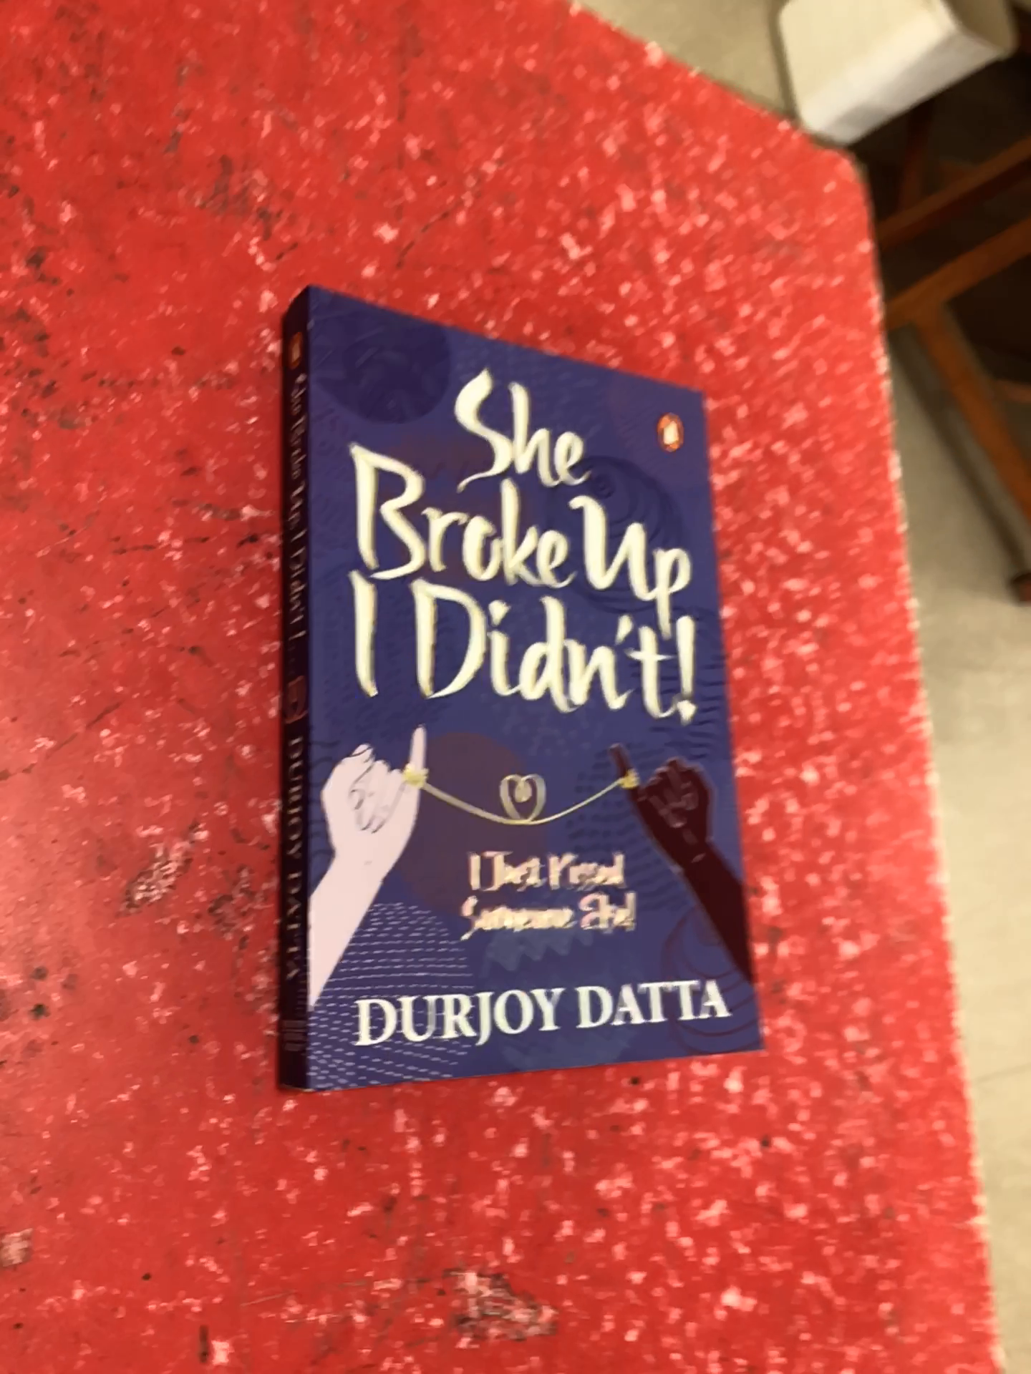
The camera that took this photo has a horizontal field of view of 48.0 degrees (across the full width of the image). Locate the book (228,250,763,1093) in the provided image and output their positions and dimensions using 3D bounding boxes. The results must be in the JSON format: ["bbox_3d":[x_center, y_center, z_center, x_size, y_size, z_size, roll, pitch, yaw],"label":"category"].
[{"bbox_3d":[-0.005,-0.001,0.305,0.130,0.040,0.190,7,73,-35],"label":"book"}]
